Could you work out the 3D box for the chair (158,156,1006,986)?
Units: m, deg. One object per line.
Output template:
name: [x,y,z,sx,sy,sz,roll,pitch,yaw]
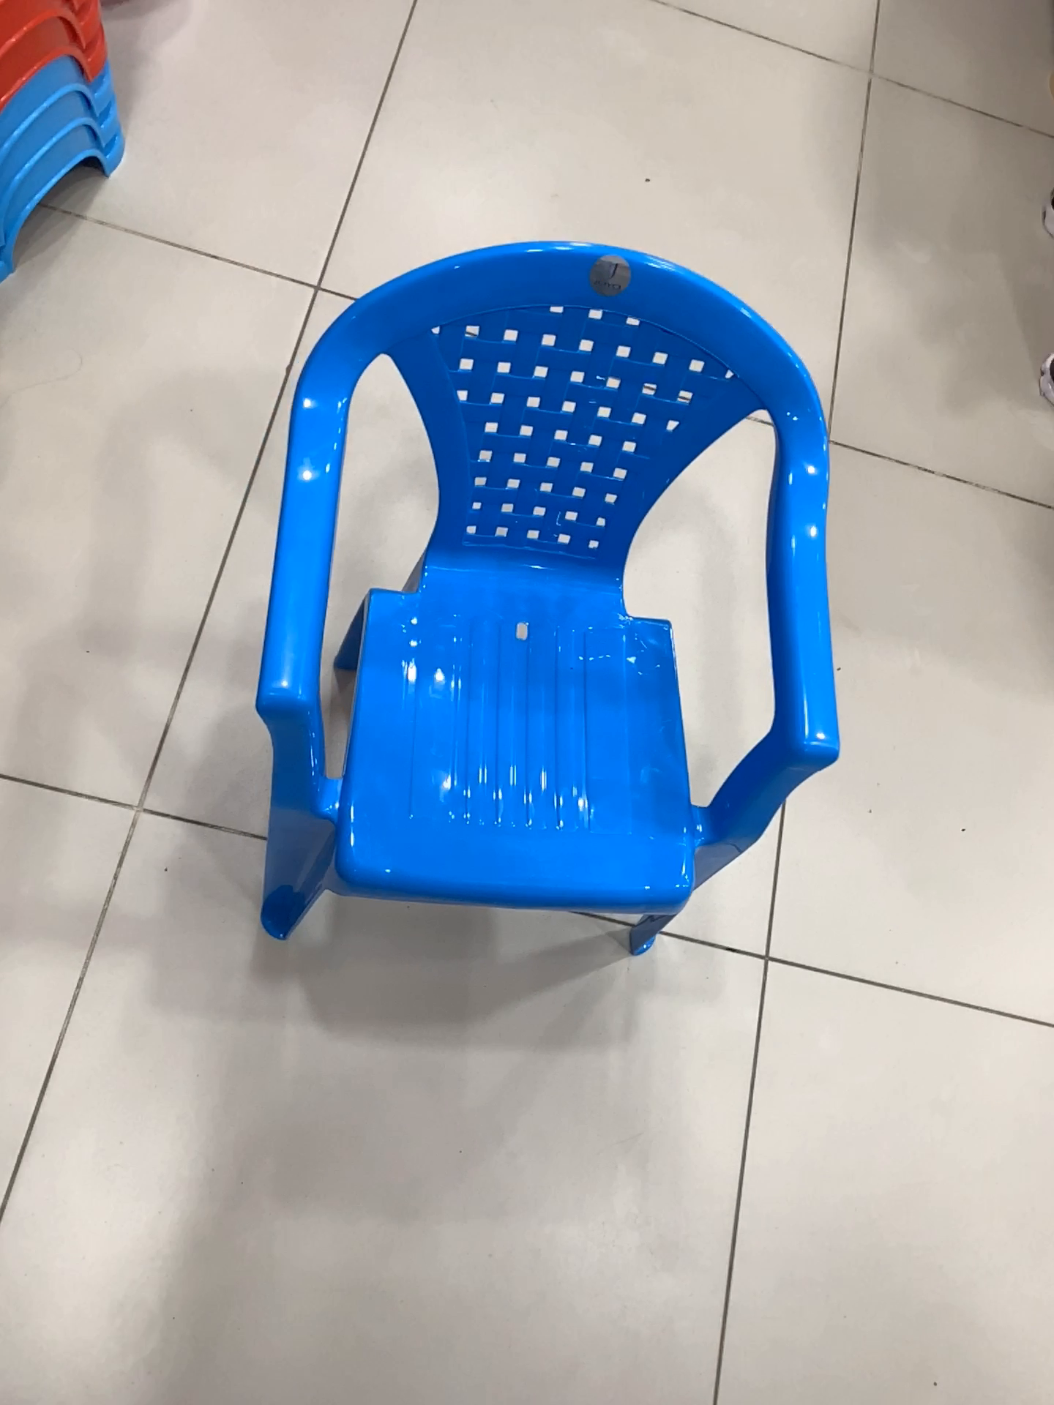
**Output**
chair: [-0.004,-0.014,0.745,0.370,0.500,0.340,7,69,-9]
